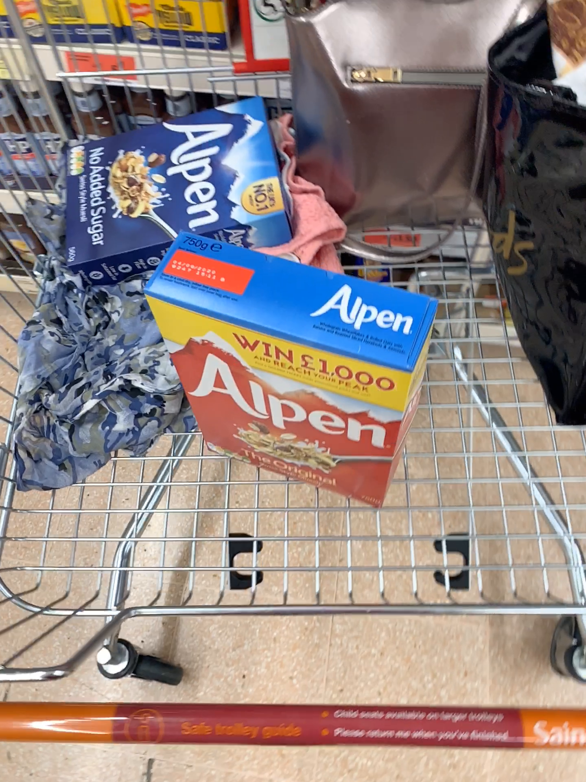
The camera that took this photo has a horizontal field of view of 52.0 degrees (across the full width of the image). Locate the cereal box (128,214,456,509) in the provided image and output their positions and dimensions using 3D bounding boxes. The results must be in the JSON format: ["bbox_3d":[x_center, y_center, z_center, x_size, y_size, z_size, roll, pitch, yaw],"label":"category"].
[{"bbox_3d":[0.002,-0.003,0.457,0.180,0.249,0.060,17,64,10],"label":"cereal box"}]
